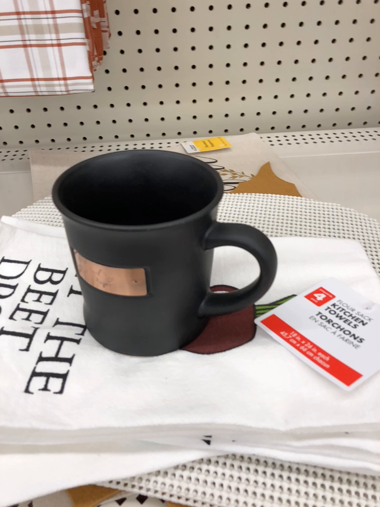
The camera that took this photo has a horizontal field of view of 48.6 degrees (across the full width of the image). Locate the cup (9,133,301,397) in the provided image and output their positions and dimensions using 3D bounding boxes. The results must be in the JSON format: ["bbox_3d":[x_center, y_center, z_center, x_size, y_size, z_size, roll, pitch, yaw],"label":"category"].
[{"bbox_3d":[-0.013,0.001,0.276,0.140,0.110,0.100,11,41,16],"label":"cup"}]
